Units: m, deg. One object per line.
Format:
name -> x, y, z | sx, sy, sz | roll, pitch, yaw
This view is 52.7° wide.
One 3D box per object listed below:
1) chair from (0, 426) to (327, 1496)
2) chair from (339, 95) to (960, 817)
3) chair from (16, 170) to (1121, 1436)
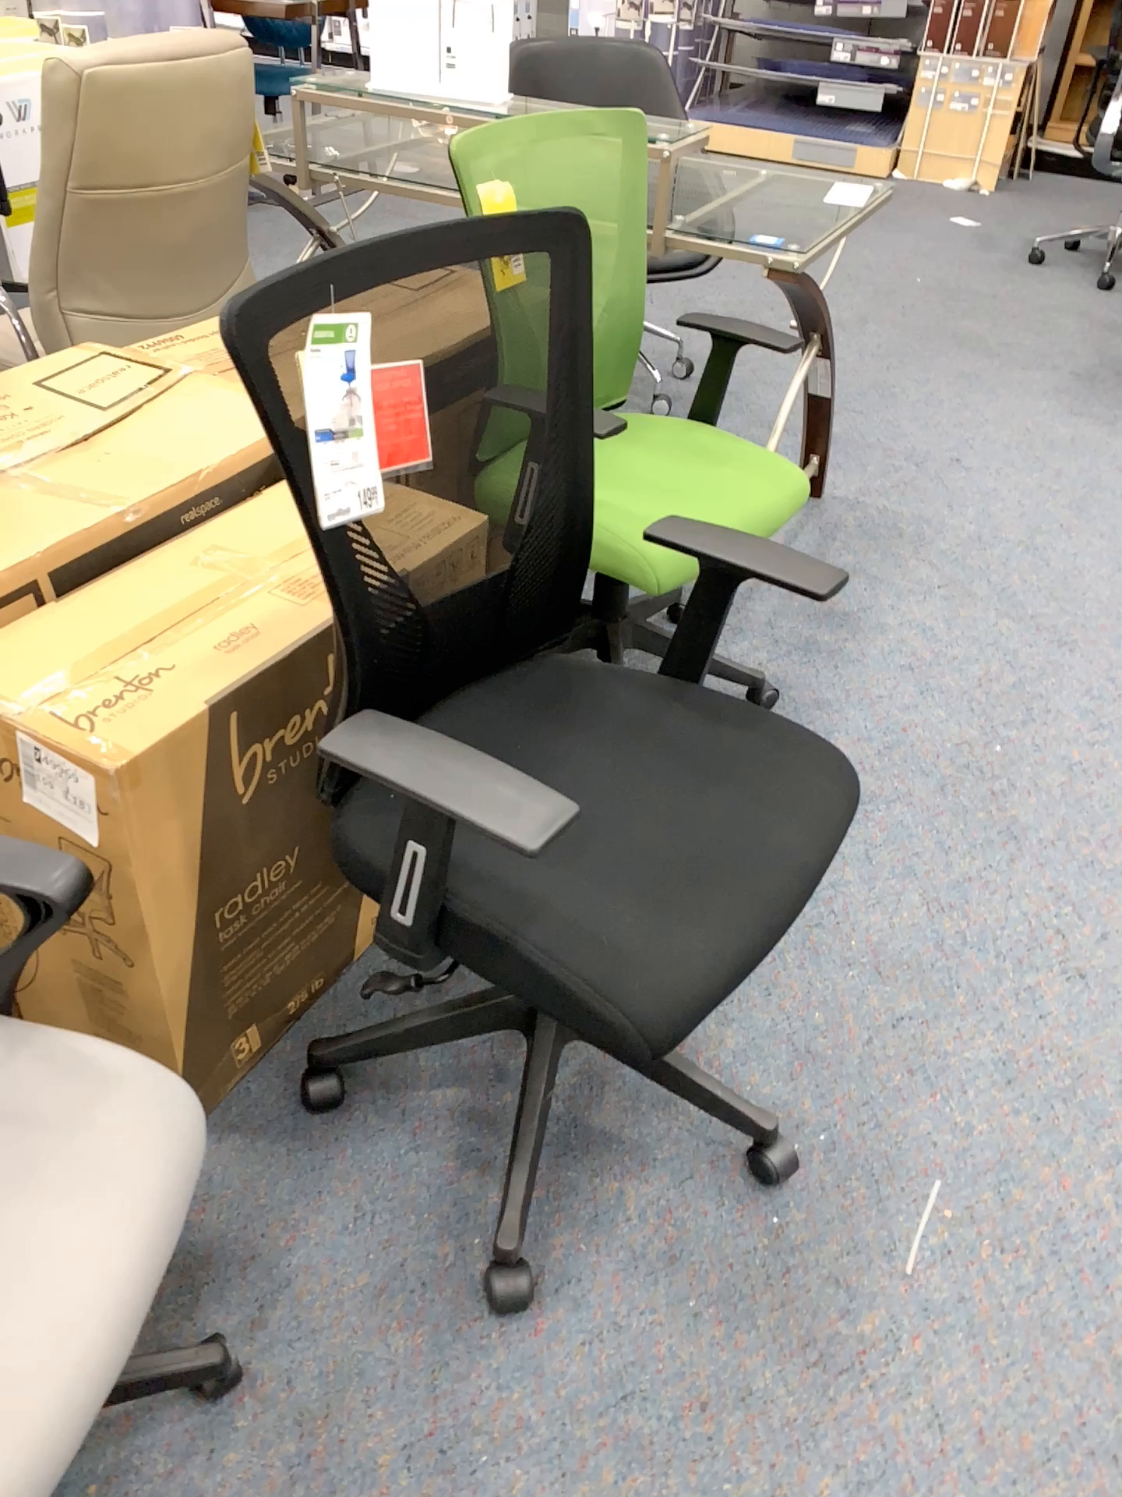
chair -> -0.658, 0.352, 0.840 | 0.678, 0.874, 0.624 | 14, 39, 13
chair -> 0.130, -0.551, 2.026 | 0.709, 0.934, 0.673 | 25, 43, 25
chair -> 0.039, 0.017, 1.226 | 0.679, 0.974, 0.684 | 25, 43, 25
